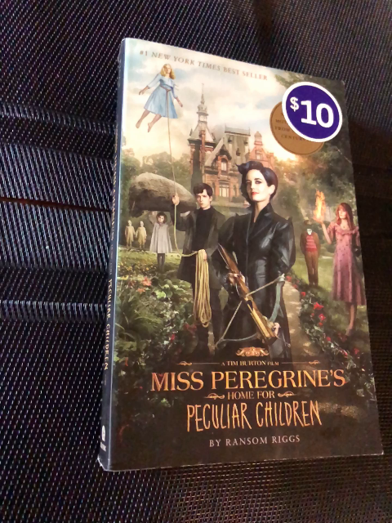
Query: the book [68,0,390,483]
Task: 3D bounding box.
[{"bbox_3d":[0.018,-0.013,0.249,0.160,0.050,0.230,4,78,-18],"label":"book"}]
